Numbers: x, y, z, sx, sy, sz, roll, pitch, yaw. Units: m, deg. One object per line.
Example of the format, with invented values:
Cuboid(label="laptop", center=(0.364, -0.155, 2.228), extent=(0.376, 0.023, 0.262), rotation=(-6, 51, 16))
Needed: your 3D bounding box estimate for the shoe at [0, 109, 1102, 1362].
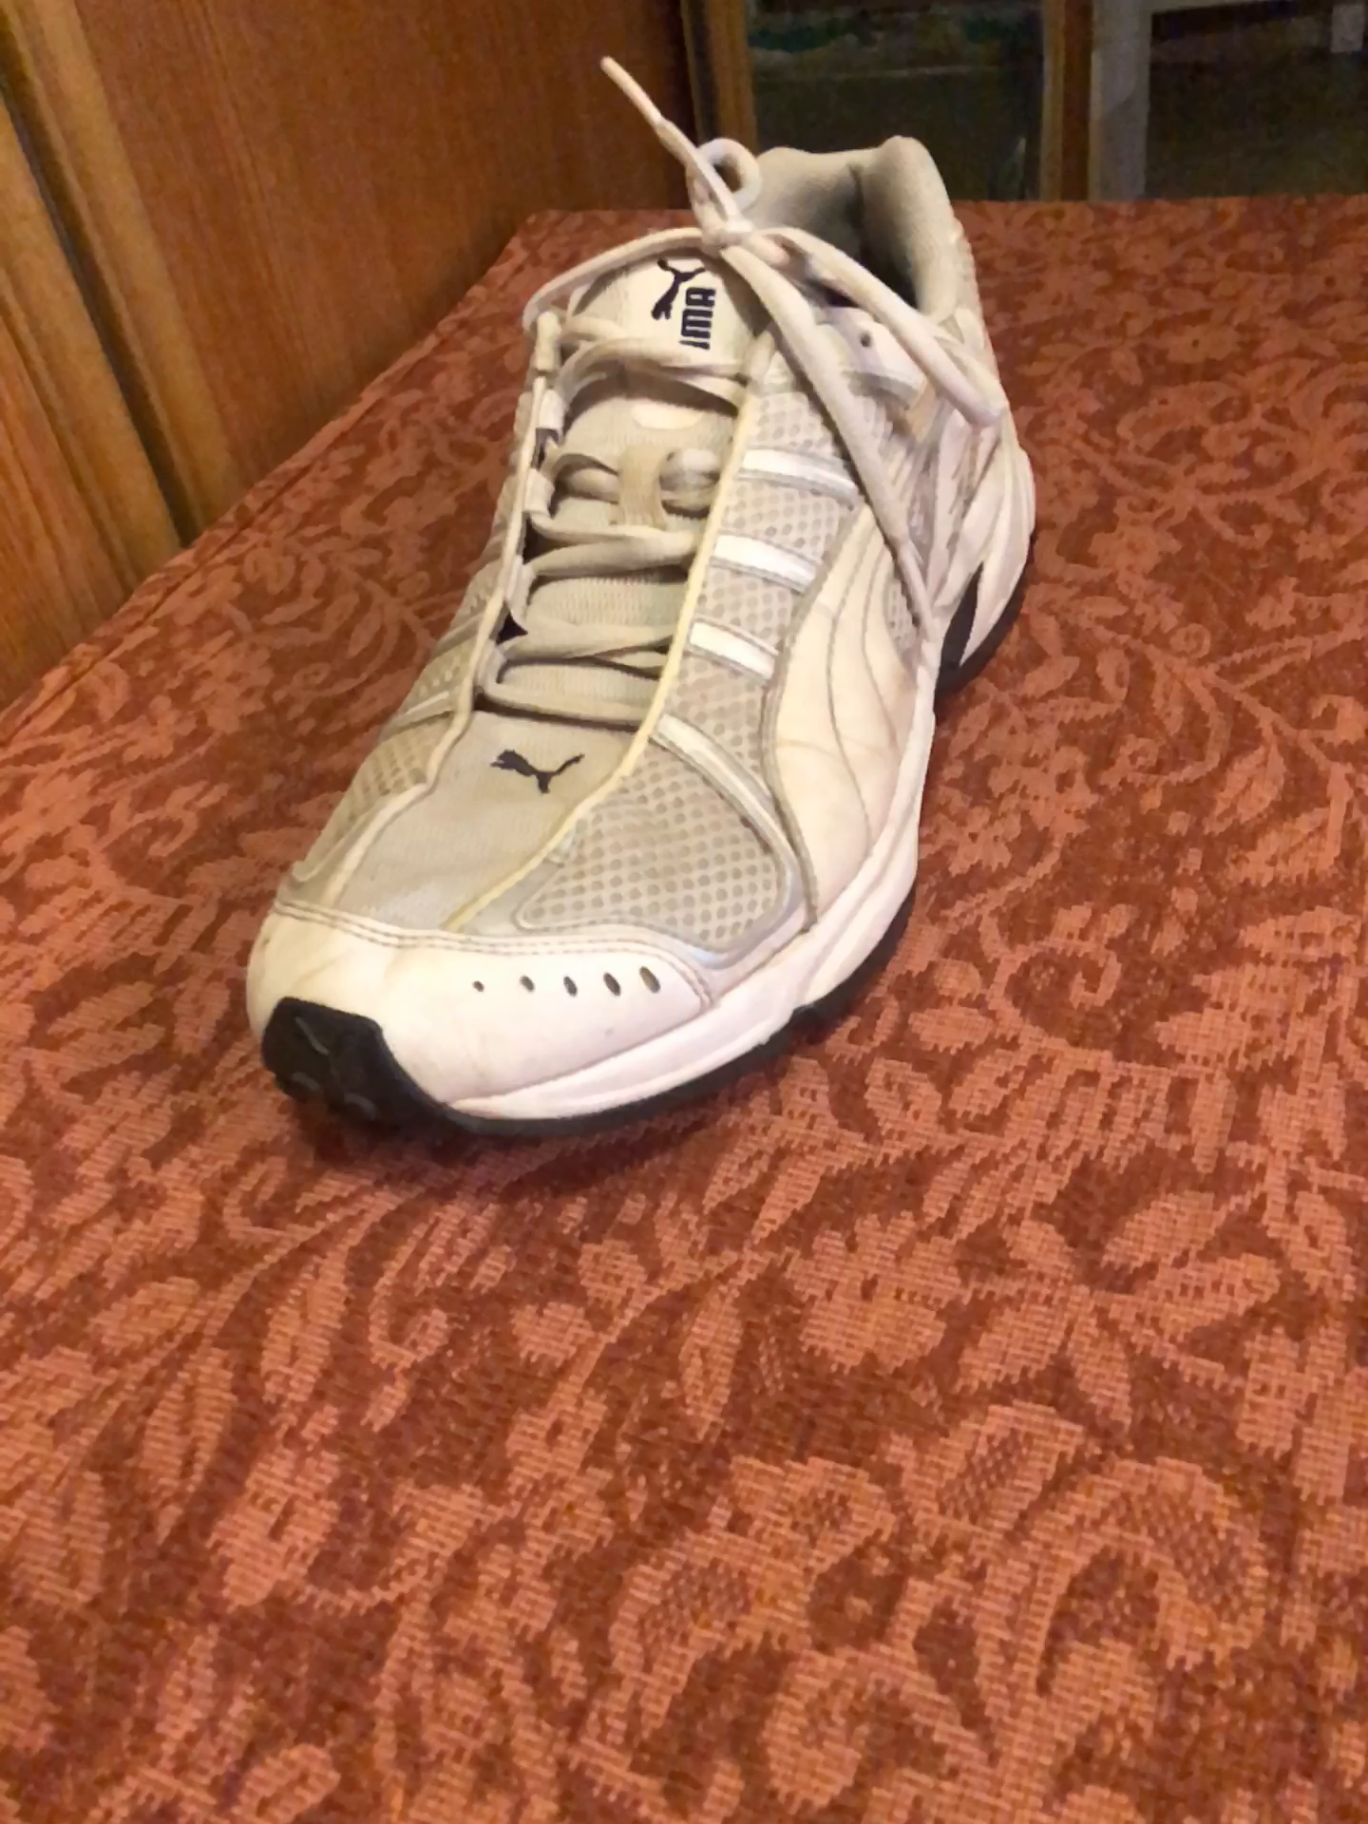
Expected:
Cuboid(label="shoe", center=(0.008, -0.069, 0.319), extent=(0.100, 0.099, 0.291), rotation=(9, 44, 22))
